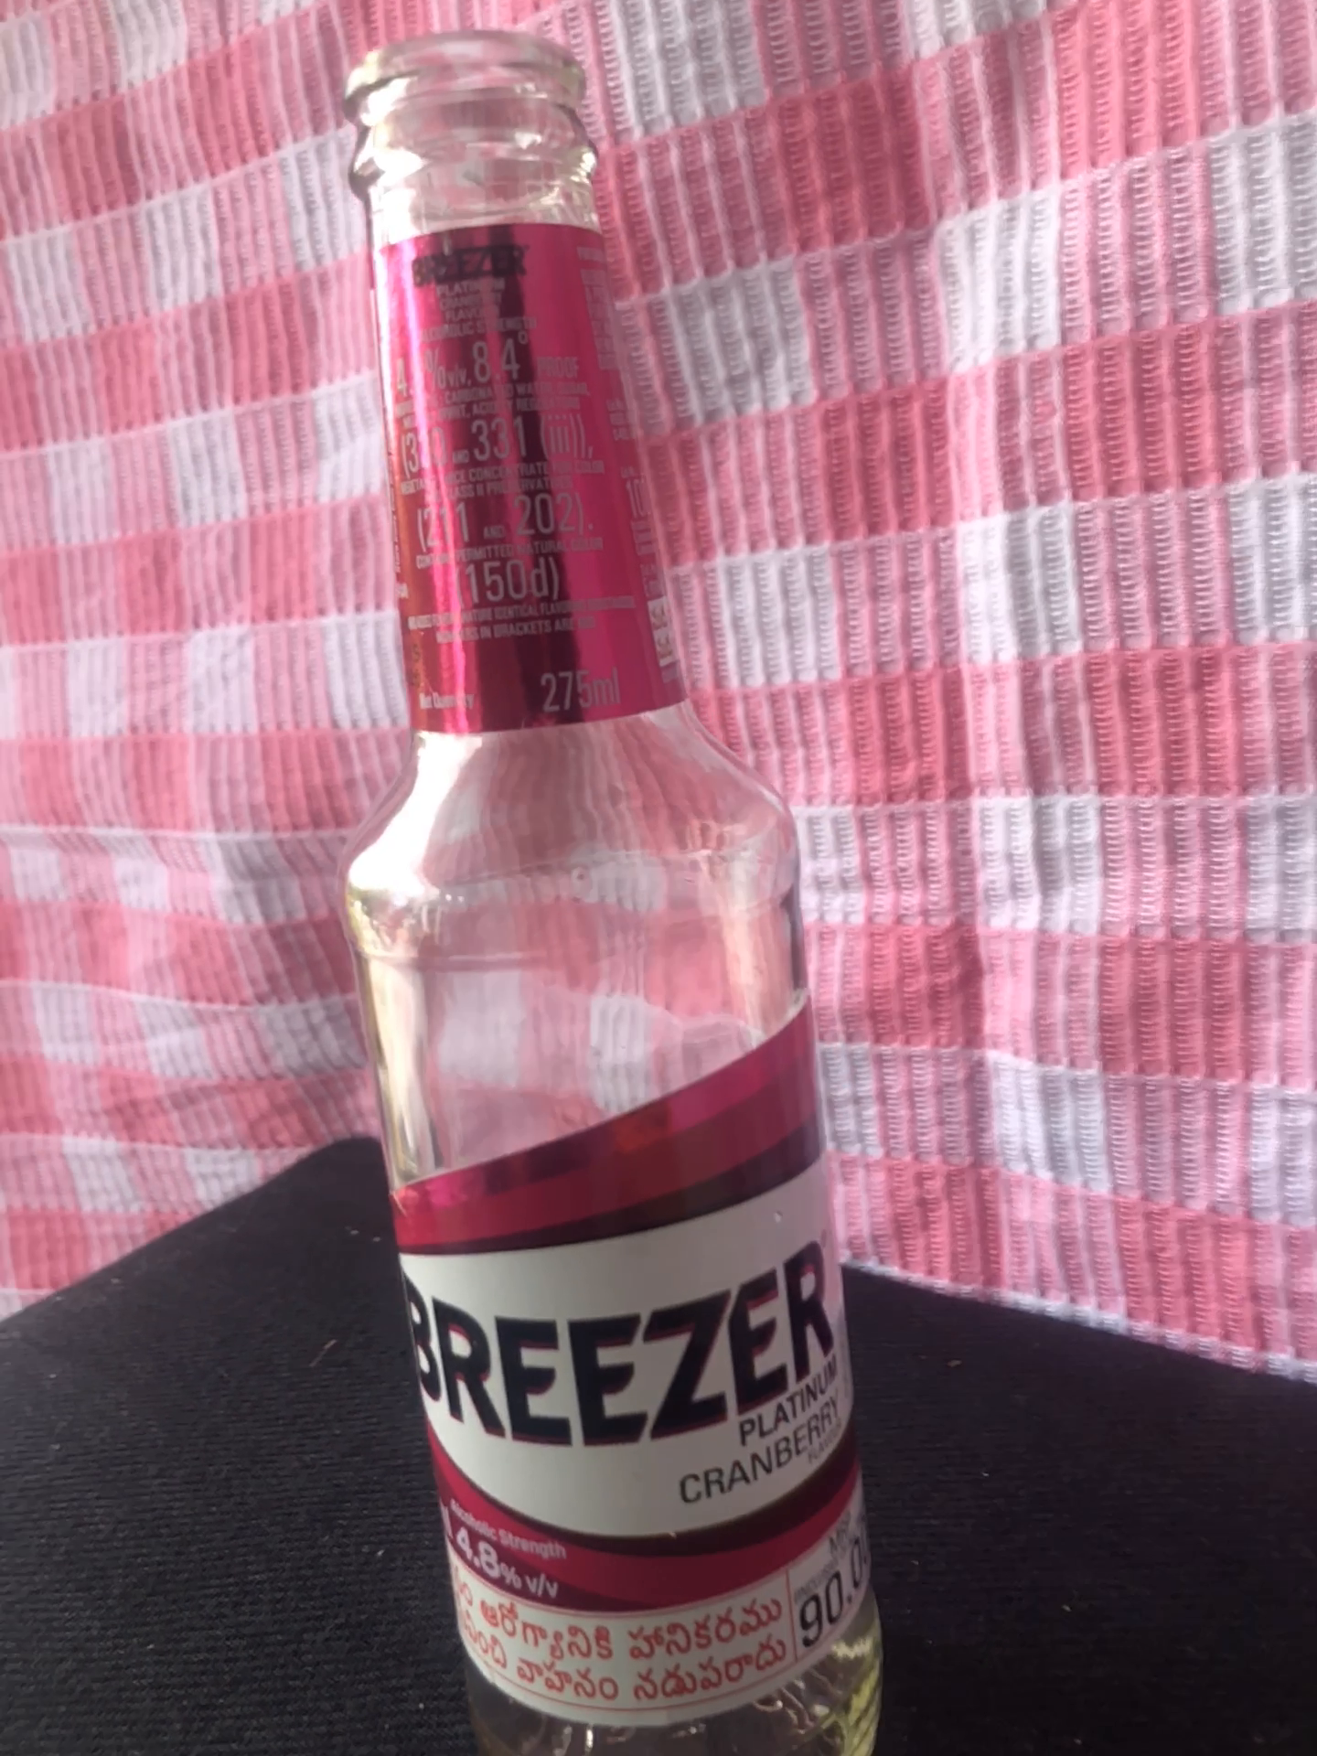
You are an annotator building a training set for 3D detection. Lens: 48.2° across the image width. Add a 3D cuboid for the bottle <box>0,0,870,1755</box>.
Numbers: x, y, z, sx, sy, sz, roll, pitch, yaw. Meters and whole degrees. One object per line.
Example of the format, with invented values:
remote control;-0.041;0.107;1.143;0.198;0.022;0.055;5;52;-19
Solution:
bottle;-0.016;0.021;0.167;0.060;0.209;0.060;-6;15;2
